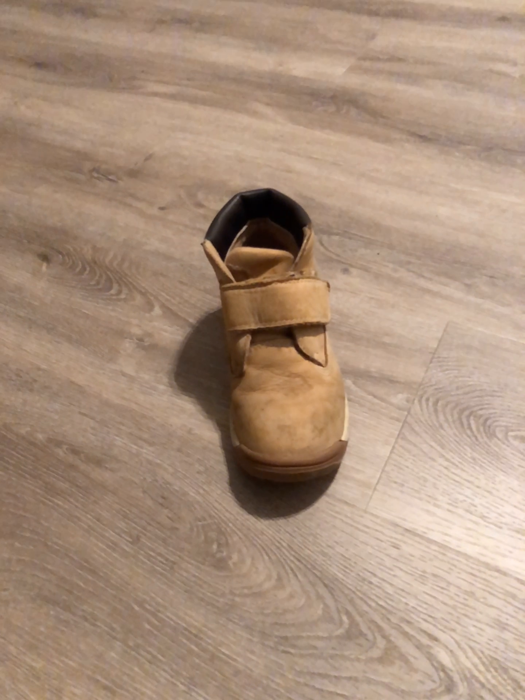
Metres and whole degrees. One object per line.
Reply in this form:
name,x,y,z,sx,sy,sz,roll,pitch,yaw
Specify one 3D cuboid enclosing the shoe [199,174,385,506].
shoe,0.013,-0.015,0.385,0.090,0.100,0.201,-5,48,1
